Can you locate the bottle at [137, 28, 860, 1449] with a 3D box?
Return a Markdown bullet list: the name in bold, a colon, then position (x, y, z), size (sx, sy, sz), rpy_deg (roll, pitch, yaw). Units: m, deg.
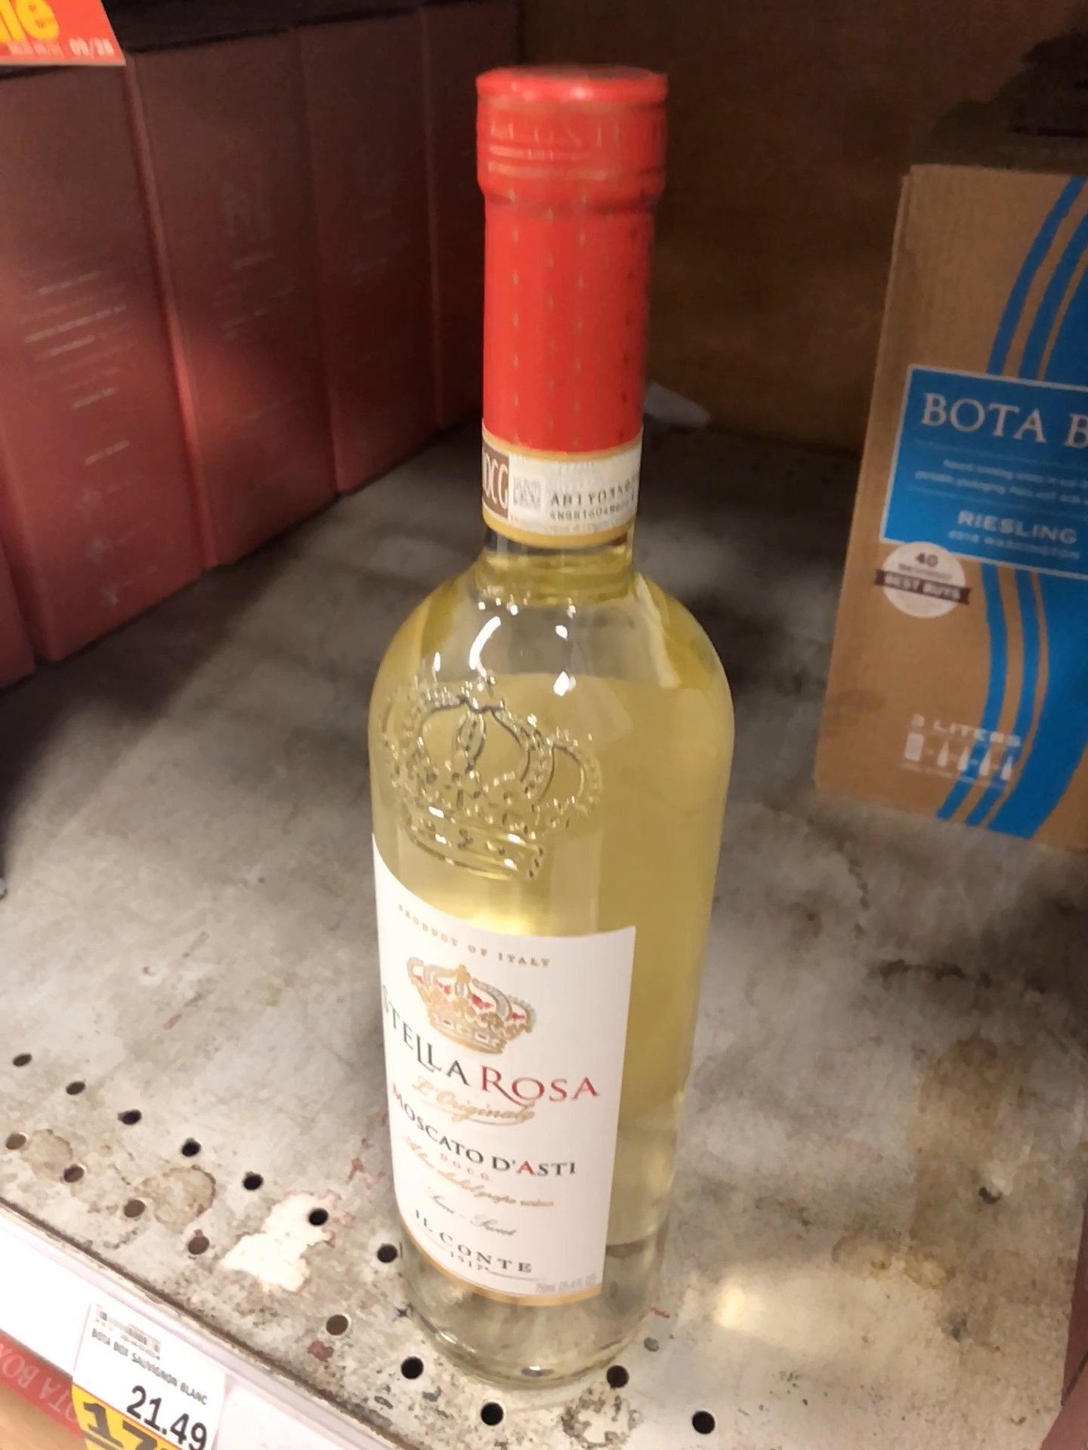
- **bottle**: position (-0.001, 0.036, 0.266), size (0.080, 0.319, 0.070), rpy_deg (14, 39, 19)
